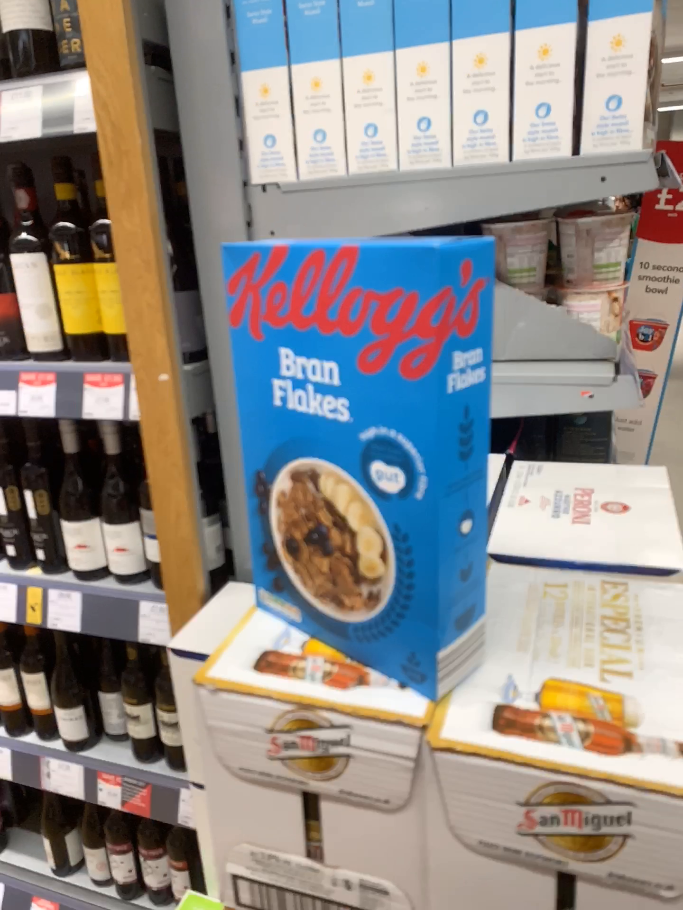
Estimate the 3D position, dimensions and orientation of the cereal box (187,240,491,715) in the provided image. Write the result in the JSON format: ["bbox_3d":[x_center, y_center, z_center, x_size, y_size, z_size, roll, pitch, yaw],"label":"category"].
[{"bbox_3d":[-0.005,0.001,0.485,0.201,0.288,0.070,15,25,41],"label":"cereal box"}]
